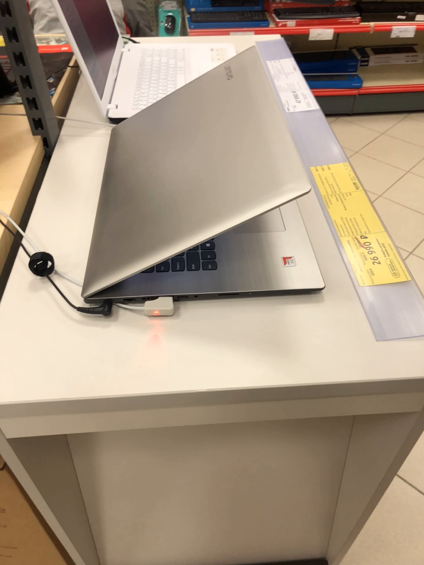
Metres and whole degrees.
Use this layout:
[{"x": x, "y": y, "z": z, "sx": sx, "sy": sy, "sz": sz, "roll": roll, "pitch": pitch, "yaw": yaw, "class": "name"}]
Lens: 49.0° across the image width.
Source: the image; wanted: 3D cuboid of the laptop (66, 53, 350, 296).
[{"x": -0.015, "y": -0.177, "z": 0.638, "sx": 0.276, "sy": 0.129, "sz": 0.400, "roll": -3, "pitch": 44, "yaw": -3, "class": "laptop"}]
